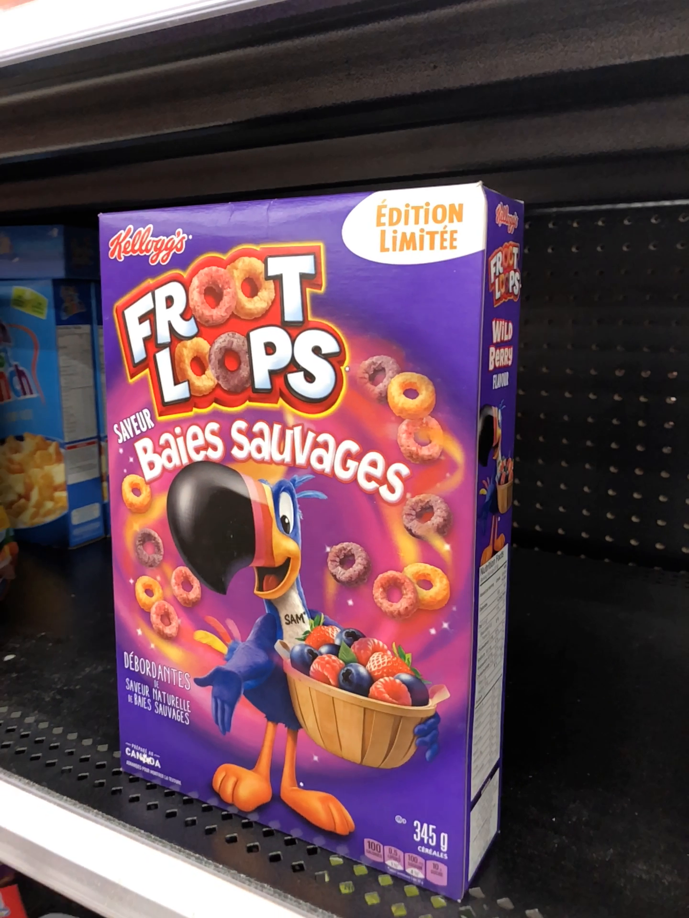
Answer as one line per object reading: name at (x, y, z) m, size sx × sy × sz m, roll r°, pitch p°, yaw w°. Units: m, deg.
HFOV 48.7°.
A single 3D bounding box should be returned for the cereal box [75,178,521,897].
cereal box at (-0.030, 0.028, 0.370) m, size 0.210 × 0.289 × 0.050 m, roll 6°, pitch 11°, yaw 30°
